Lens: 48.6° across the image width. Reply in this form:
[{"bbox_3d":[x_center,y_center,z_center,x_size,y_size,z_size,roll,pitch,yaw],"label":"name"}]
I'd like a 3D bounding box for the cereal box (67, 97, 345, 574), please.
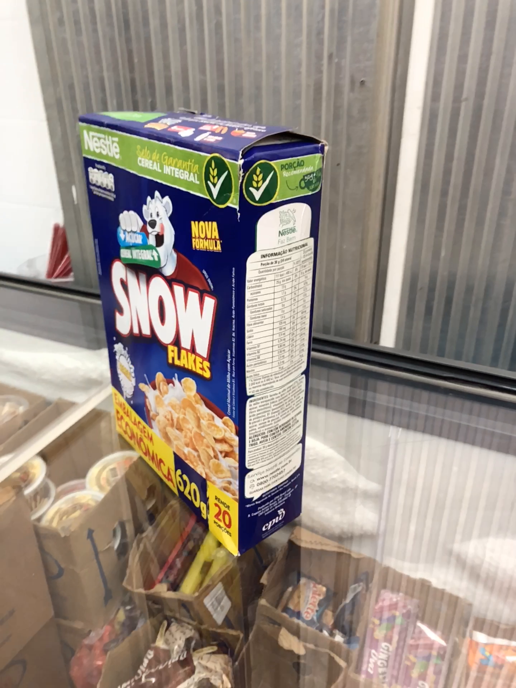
[{"bbox_3d":[-0.048,-0.019,0.453,0.070,0.308,0.231,-20,34,-32],"label":"cereal box"}]
